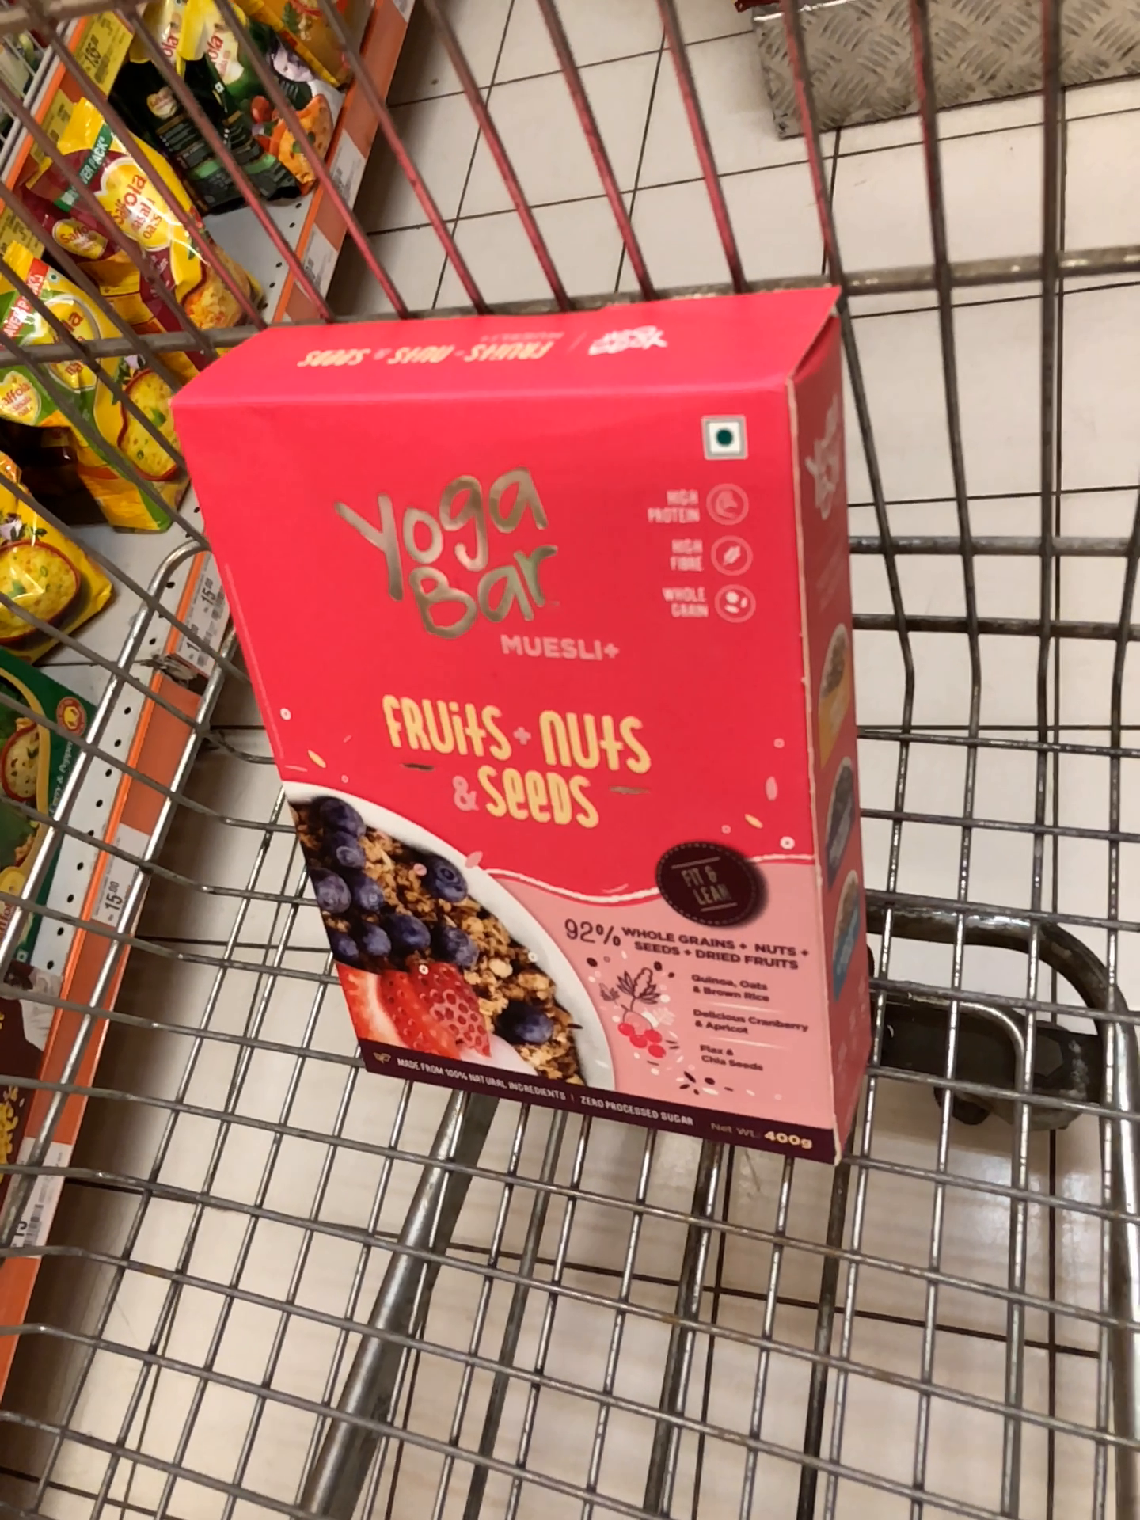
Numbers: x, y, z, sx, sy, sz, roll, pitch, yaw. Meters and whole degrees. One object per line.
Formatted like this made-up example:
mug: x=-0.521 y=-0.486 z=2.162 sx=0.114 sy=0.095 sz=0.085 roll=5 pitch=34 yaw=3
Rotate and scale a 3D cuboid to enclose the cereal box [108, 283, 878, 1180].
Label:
cereal box: x=-0.006 y=0.000 z=0.361 sx=0.170 sy=0.239 sz=0.060 roll=5 pitch=35 yaw=24
